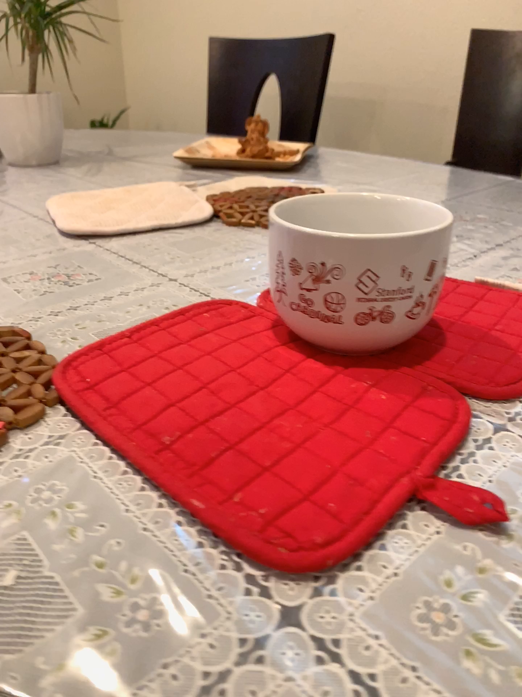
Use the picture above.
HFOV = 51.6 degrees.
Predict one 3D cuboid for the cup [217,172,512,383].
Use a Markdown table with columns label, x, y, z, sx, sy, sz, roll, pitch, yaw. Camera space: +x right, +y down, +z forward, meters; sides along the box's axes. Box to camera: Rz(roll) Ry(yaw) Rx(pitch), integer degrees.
| label | x | y | z | sx | sy | sz | roll | pitch | yaw |
| --- | --- | --- | --- | --- | --- | --- | --- | --- | --- |
| cup | 0.059 | -0.059 | 0.358 | 0.120 | 0.079 | 0.141 | -17 | 32 | -29 |
